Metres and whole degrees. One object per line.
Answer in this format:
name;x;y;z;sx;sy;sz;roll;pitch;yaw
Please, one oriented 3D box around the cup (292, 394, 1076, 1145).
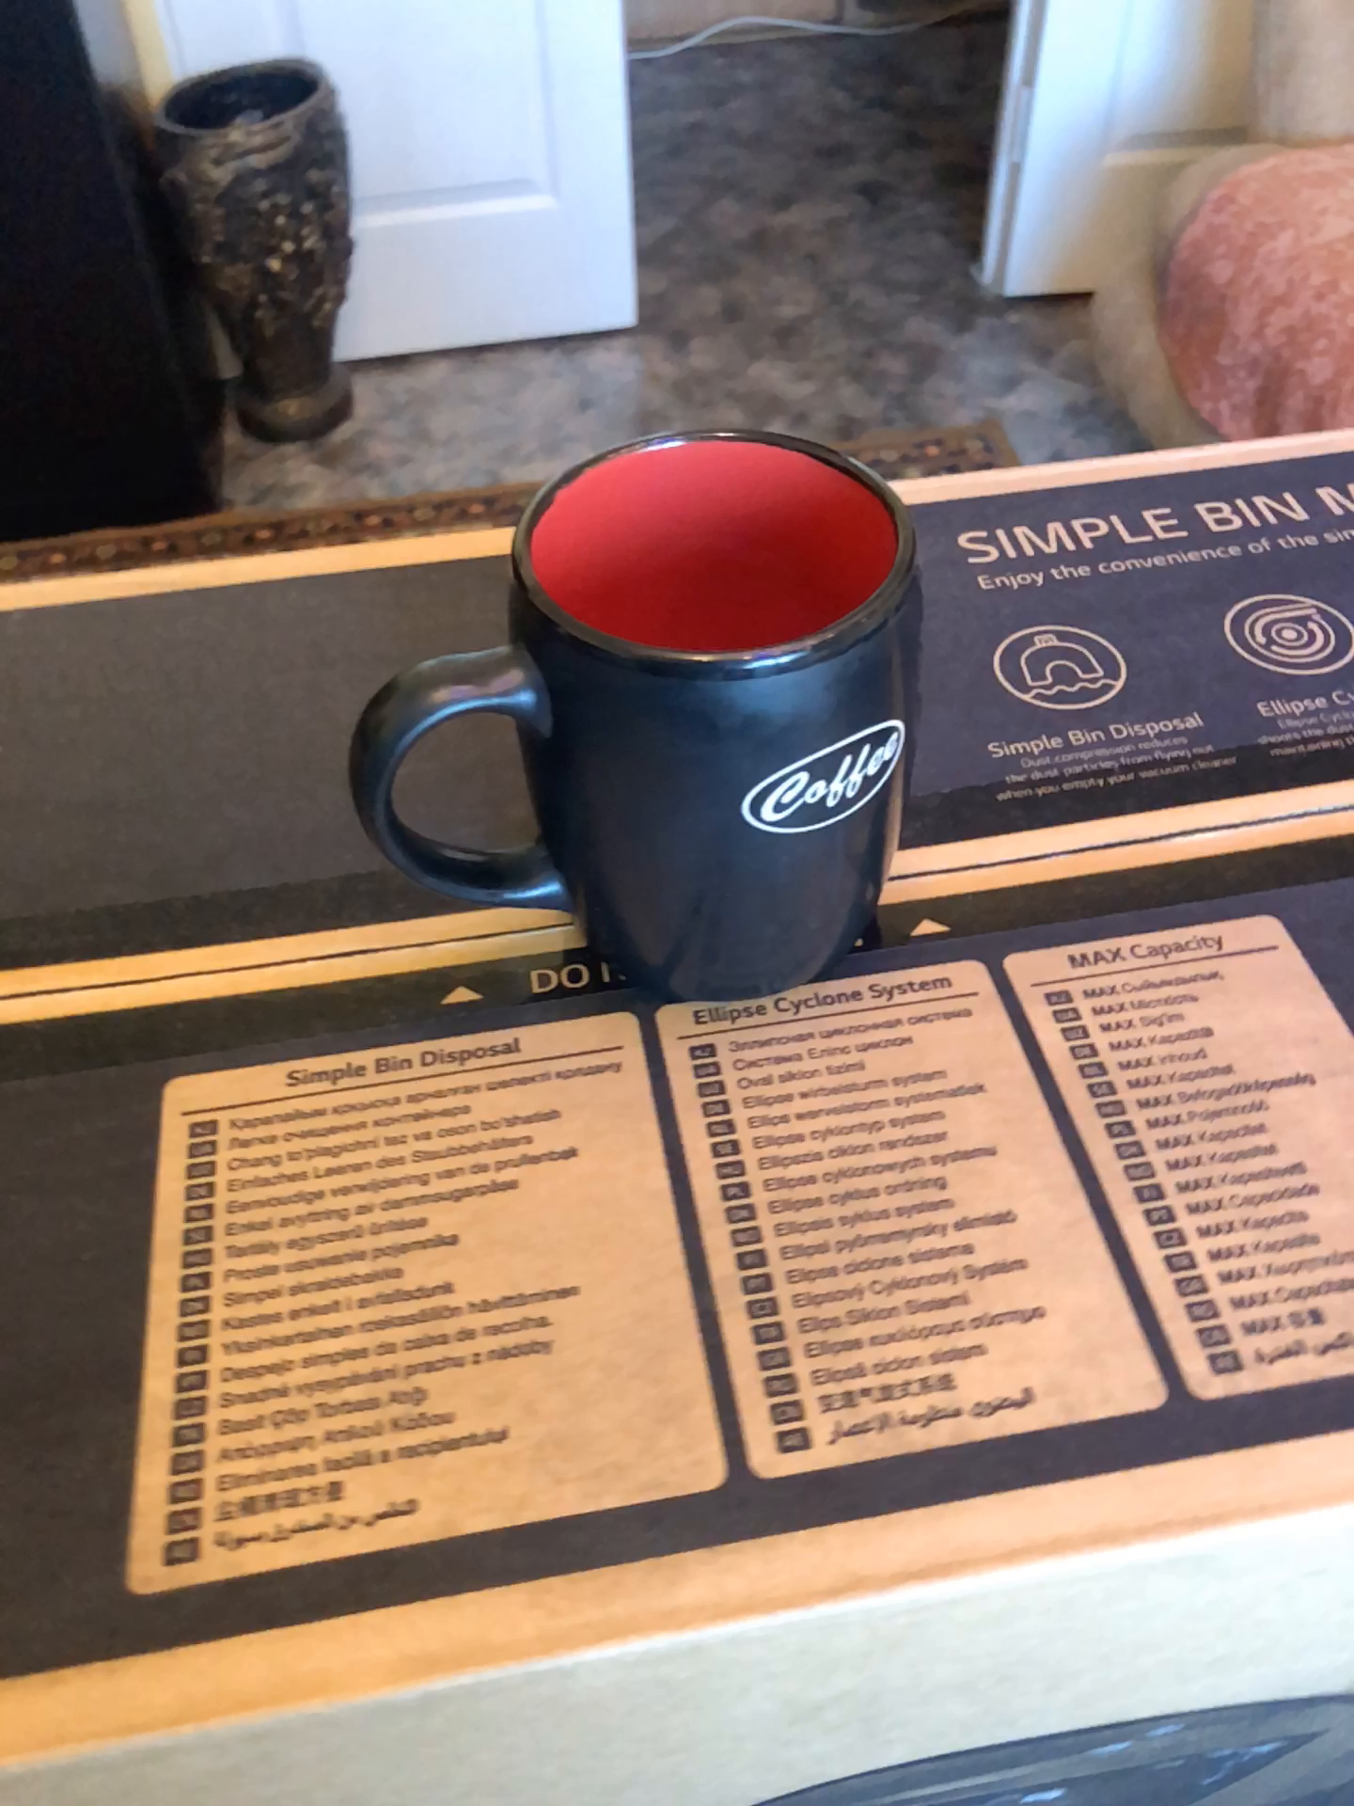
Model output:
cup;-0.001;-0.030;0.312;0.120;0.090;0.090;-18;50;-14
